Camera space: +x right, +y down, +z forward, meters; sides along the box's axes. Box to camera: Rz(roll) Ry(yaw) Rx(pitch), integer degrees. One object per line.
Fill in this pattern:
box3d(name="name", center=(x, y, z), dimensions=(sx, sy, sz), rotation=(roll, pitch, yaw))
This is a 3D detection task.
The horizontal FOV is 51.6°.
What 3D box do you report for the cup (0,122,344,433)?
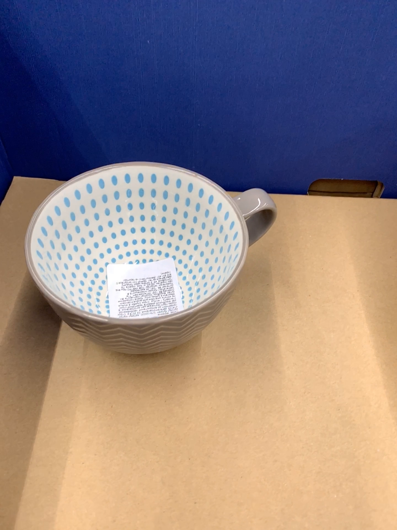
box3d(name="cup", center=(-0.018, -0.007, 0.237), dimensions=(0.143, 0.061, 0.119), rotation=(-29, 57, -24))
